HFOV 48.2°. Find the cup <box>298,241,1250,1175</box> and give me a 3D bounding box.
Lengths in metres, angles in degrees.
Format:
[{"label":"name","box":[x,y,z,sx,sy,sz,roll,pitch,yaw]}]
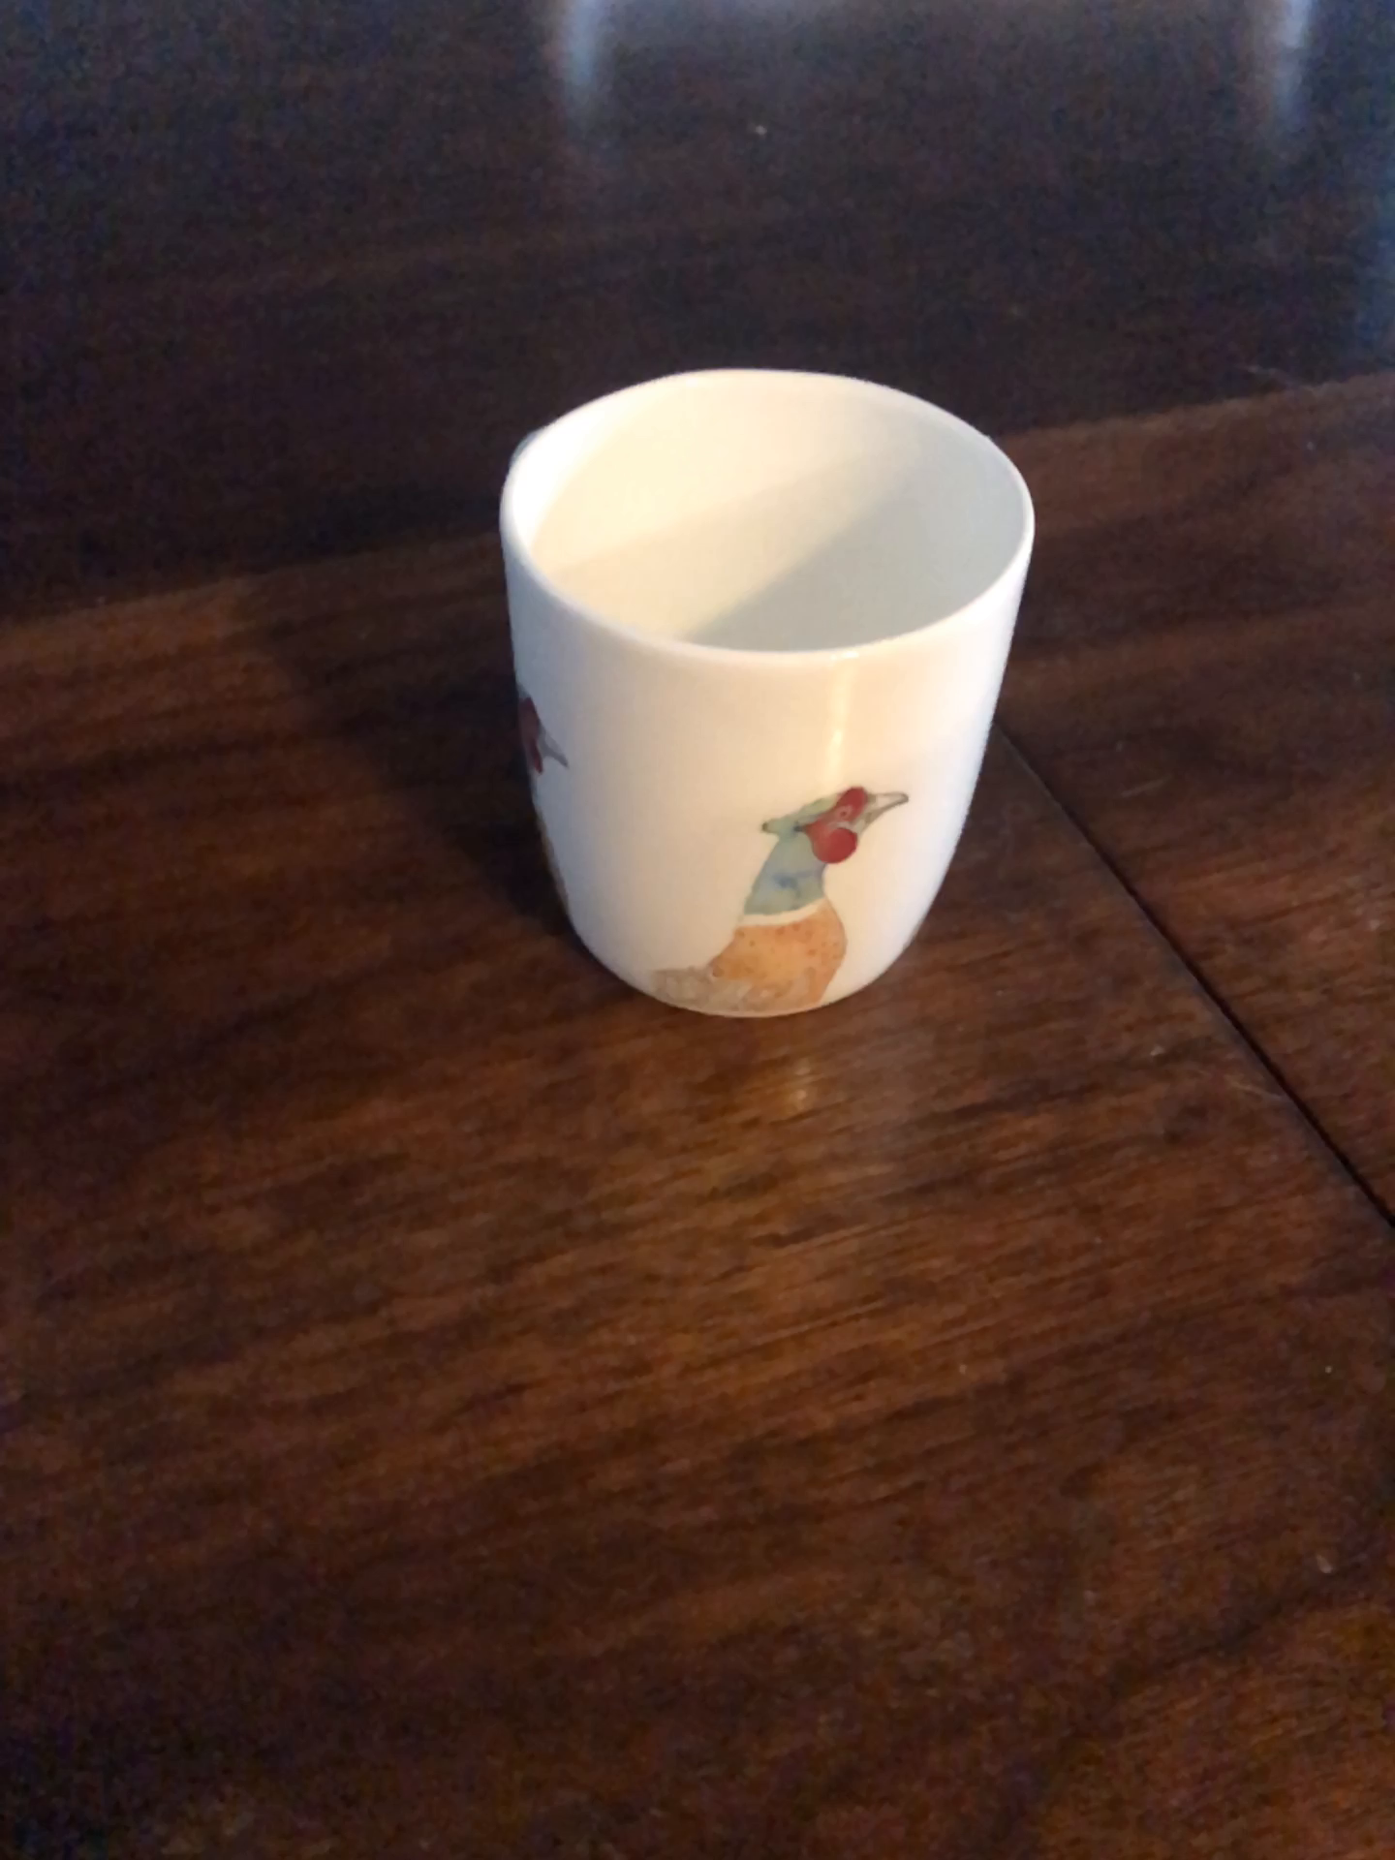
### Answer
[{"label":"cup","box":[0.007,-0.047,0.283,0.090,0.090,0.130,-29,53,-27]}]
